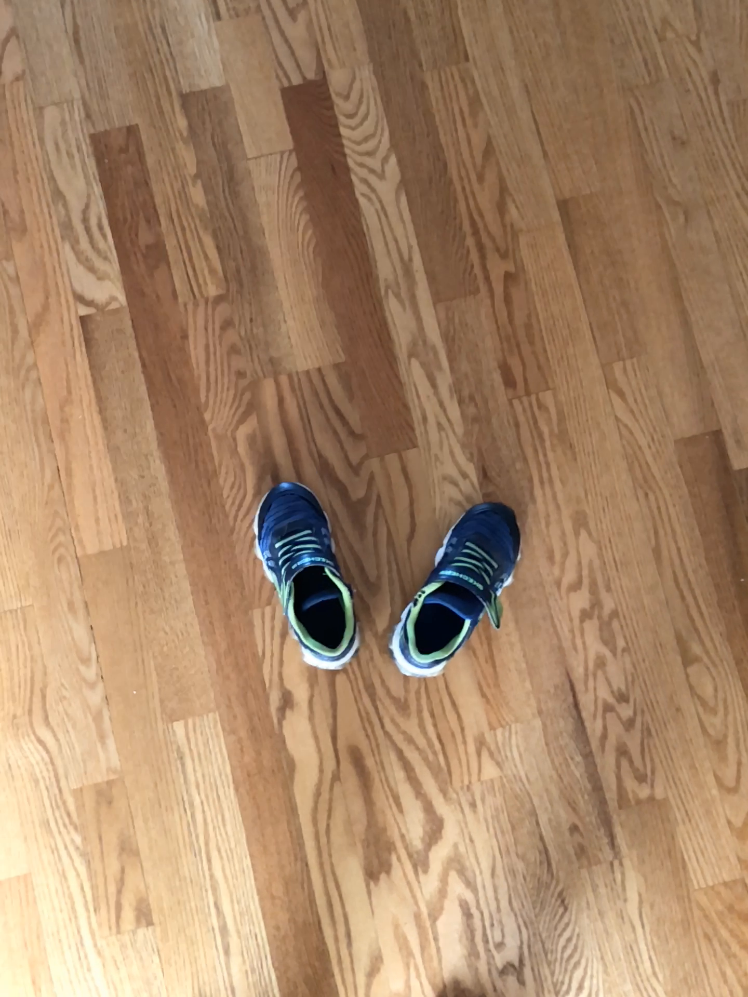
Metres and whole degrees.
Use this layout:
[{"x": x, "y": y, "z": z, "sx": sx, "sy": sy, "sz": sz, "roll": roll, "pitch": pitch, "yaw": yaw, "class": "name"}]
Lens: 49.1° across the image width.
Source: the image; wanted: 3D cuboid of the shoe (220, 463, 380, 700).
[{"x": -0.072, "y": 0.081, "z": 0.818, "sx": 0.093, "sy": 0.095, "sz": 0.203, "roll": -18, "pitch": 85, "yaw": -4, "class": "shoe"}]

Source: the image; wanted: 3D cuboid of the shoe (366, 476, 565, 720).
[{"x": 0.088, "y": 0.097, "z": 0.820, "sx": 0.093, "sy": 0.087, "sz": 0.212, "roll": 31, "pitch": 84, "yaw": 1, "class": "shoe"}]
